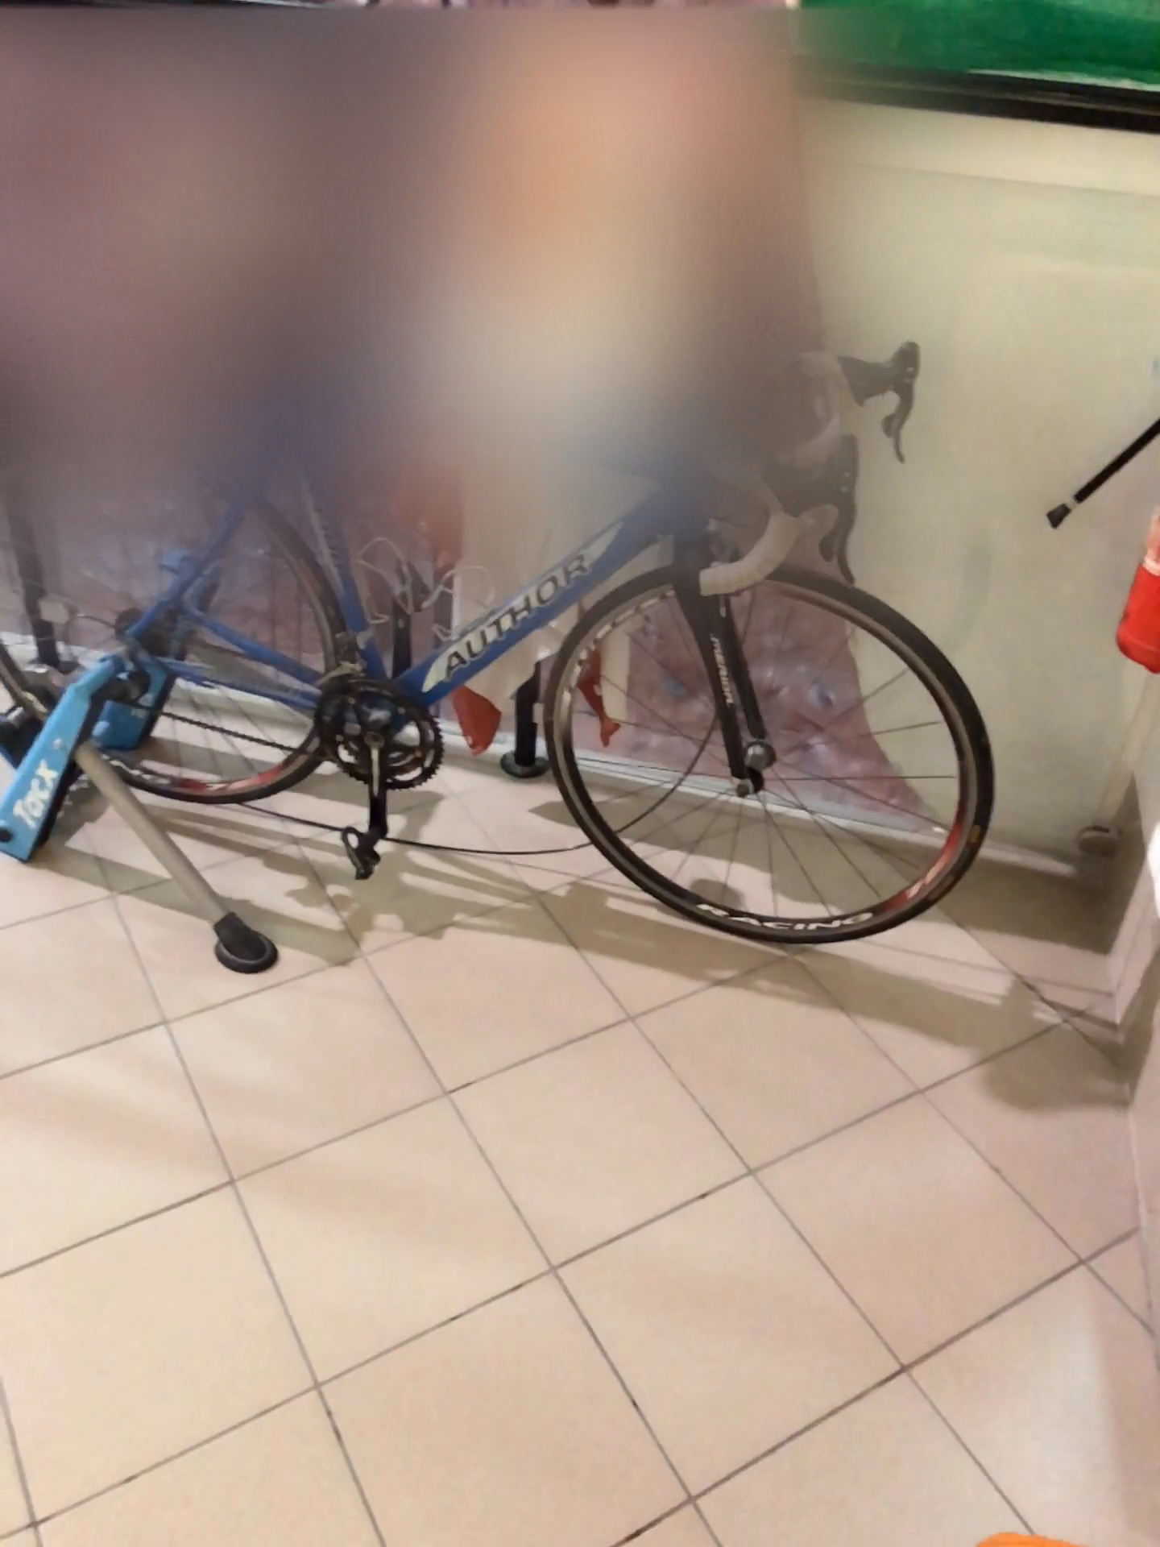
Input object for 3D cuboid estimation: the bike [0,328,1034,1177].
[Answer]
[{"bbox_3d":[-0.213,-0.066,1.851,1.552,0.682,0.468,15,36,9],"label":"bike"}]
